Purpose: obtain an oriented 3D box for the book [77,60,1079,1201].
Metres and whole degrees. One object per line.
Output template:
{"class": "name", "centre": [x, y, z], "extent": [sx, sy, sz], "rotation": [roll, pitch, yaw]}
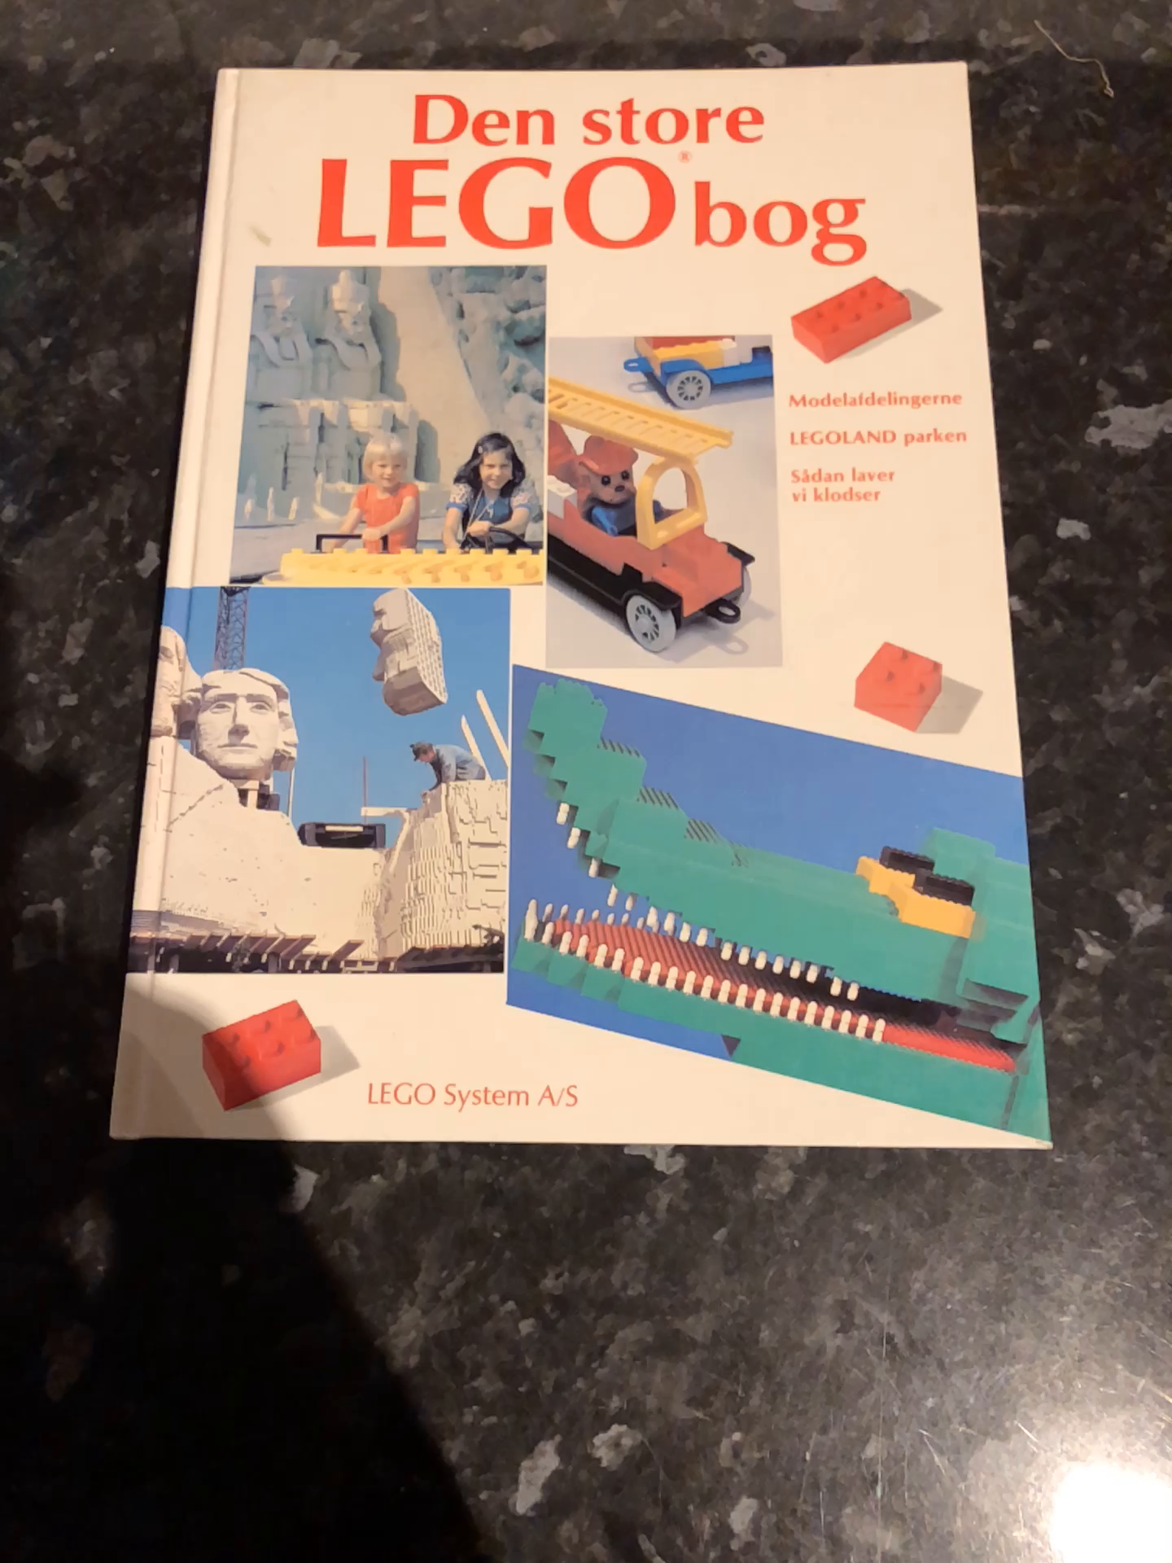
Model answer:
{"class": "book", "centre": [0.000, -0.049, 0.324], "extent": [0.210, 0.030, 0.290], "rotation": [0, 75, 0]}
